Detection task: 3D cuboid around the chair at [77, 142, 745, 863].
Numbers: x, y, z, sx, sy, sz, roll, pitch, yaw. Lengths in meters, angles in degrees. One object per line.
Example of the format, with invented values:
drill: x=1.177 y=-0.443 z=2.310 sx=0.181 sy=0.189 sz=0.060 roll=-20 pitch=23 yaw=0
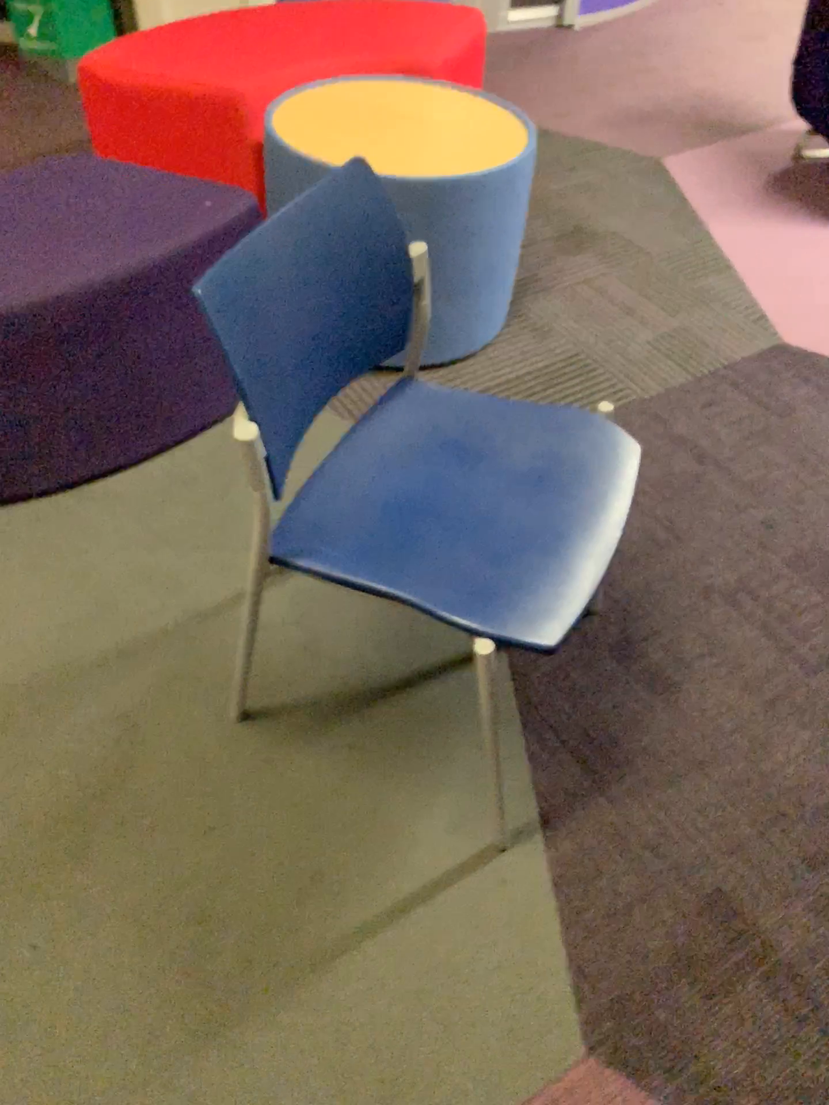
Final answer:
chair: x=0.027 y=-0.071 z=1.220 sx=0.571 sy=0.694 sz=0.564 roll=20 pitch=50 yaw=16
